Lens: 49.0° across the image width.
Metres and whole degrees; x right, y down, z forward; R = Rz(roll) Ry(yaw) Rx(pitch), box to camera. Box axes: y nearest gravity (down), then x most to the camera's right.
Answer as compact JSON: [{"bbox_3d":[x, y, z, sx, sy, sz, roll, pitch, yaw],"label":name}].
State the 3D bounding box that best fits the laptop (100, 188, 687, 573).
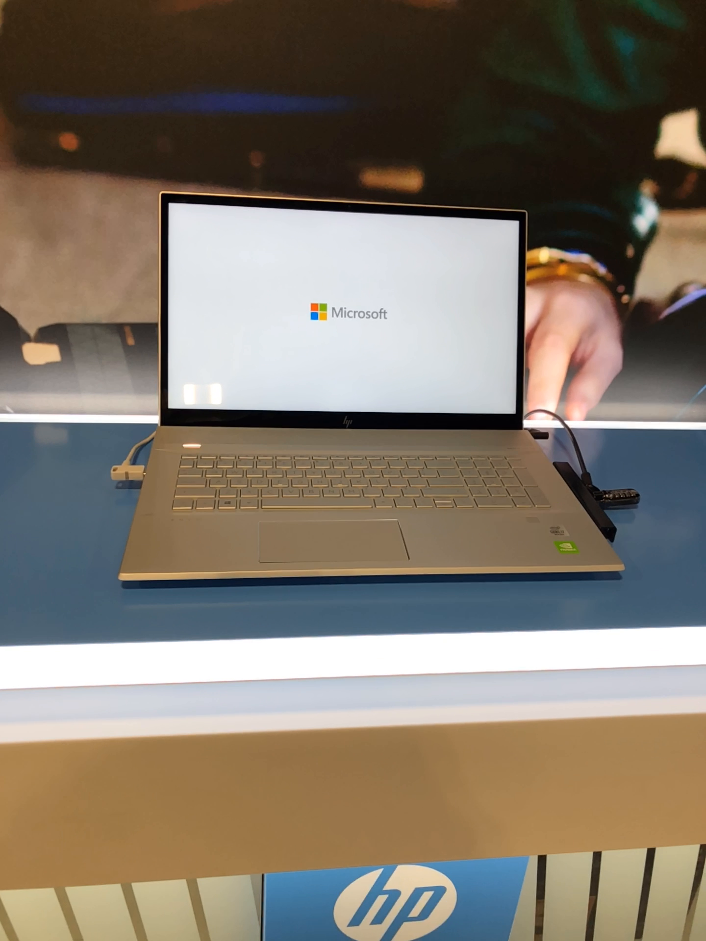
[{"bbox_3d":[0.009,-0.113,0.734,0.400,0.217,0.385,0,28,-7],"label":"laptop"}]
